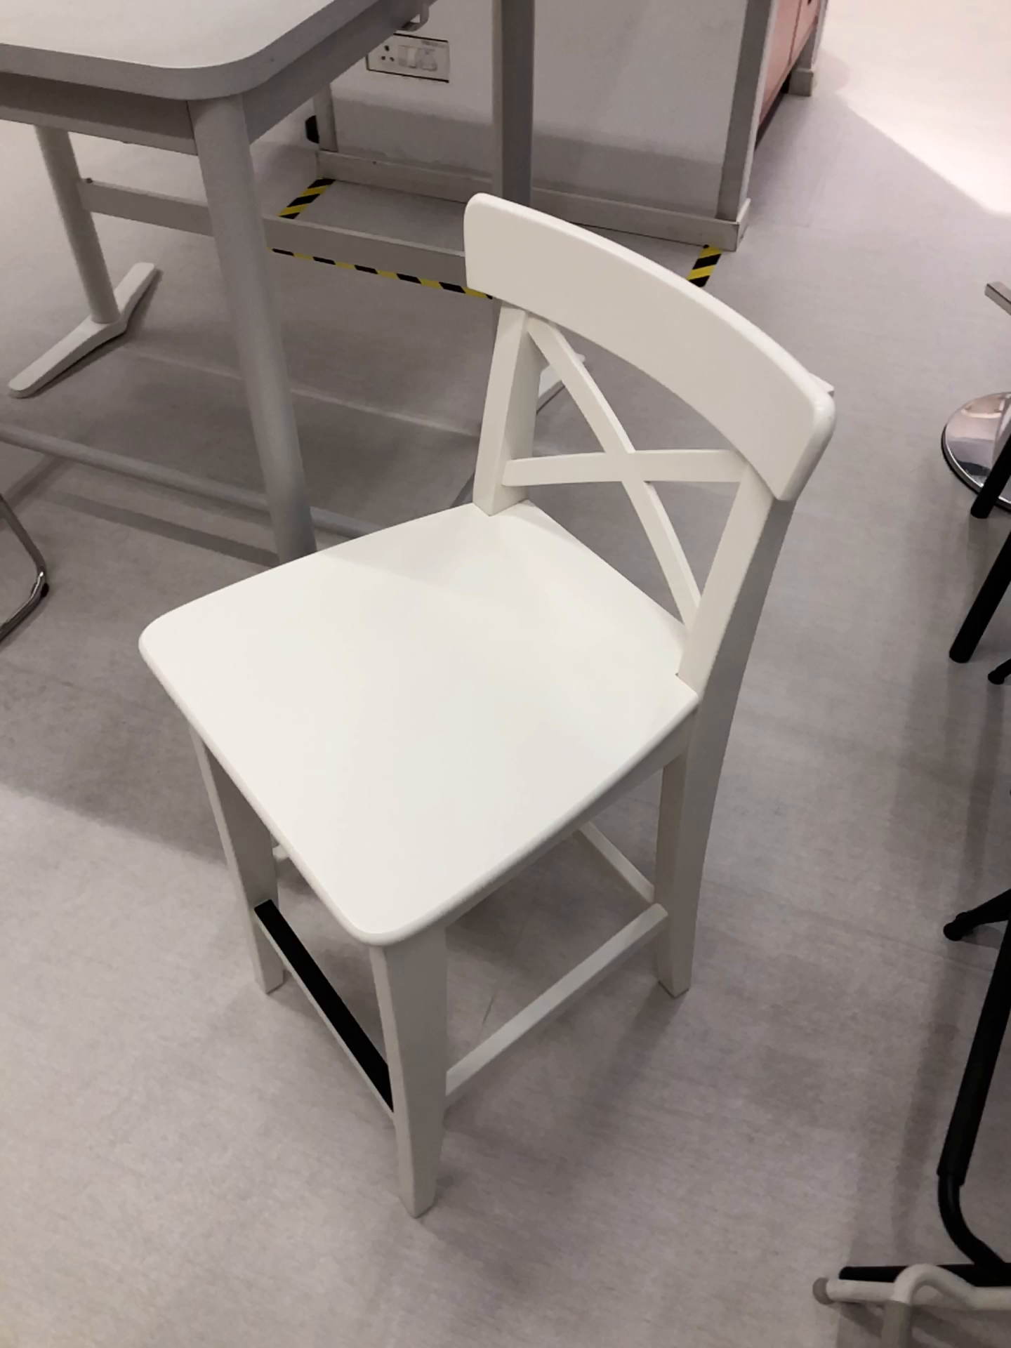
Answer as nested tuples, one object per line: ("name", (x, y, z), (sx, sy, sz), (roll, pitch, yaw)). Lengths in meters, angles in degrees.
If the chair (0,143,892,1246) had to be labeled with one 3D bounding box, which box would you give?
("chair", (-0.061, 0.073, 1.000), (0.421, 0.835, 0.422), (-29, 54, -24))
